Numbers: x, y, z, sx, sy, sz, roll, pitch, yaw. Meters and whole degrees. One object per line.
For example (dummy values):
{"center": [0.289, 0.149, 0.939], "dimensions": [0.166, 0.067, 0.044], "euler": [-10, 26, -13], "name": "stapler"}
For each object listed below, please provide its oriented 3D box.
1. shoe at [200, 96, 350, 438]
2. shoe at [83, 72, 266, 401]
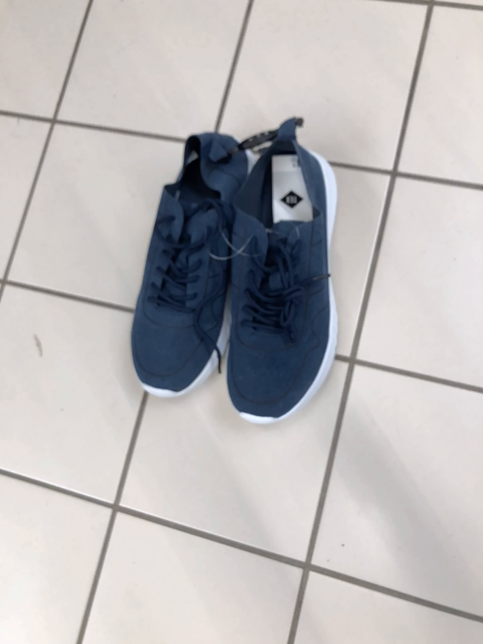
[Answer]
{"center": [0.040, -0.046, 0.510], "dimensions": [0.100, 0.120, 0.290], "euler": [4, 81, 11], "name": "shoe"}
{"center": [-0.055, -0.077, 0.528], "dimensions": [0.100, 0.110, 0.290], "euler": [8, 82, 11], "name": "shoe"}
